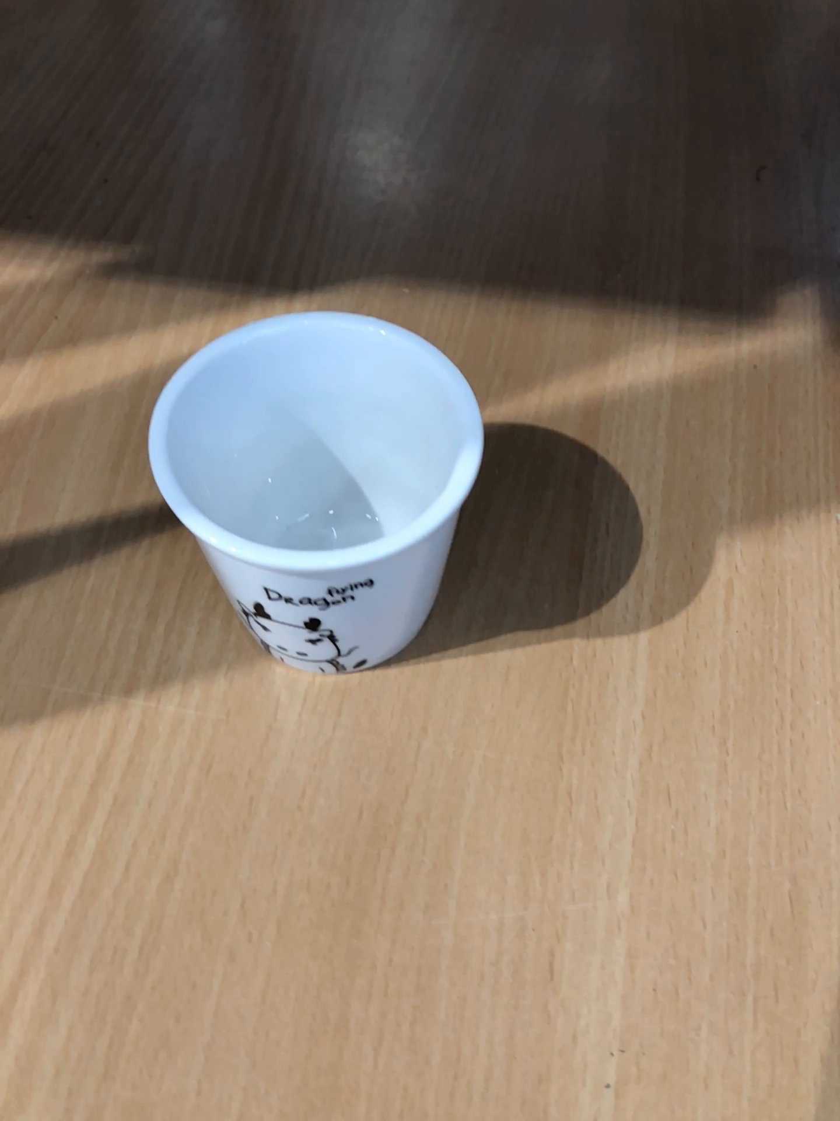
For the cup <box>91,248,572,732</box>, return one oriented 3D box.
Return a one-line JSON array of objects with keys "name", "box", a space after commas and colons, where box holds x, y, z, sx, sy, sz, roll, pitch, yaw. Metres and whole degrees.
[{"name": "cup", "box": [-0.014, -0.017, 0.221, 0.080, 0.060, 0.080, 0, 56, 0]}]
